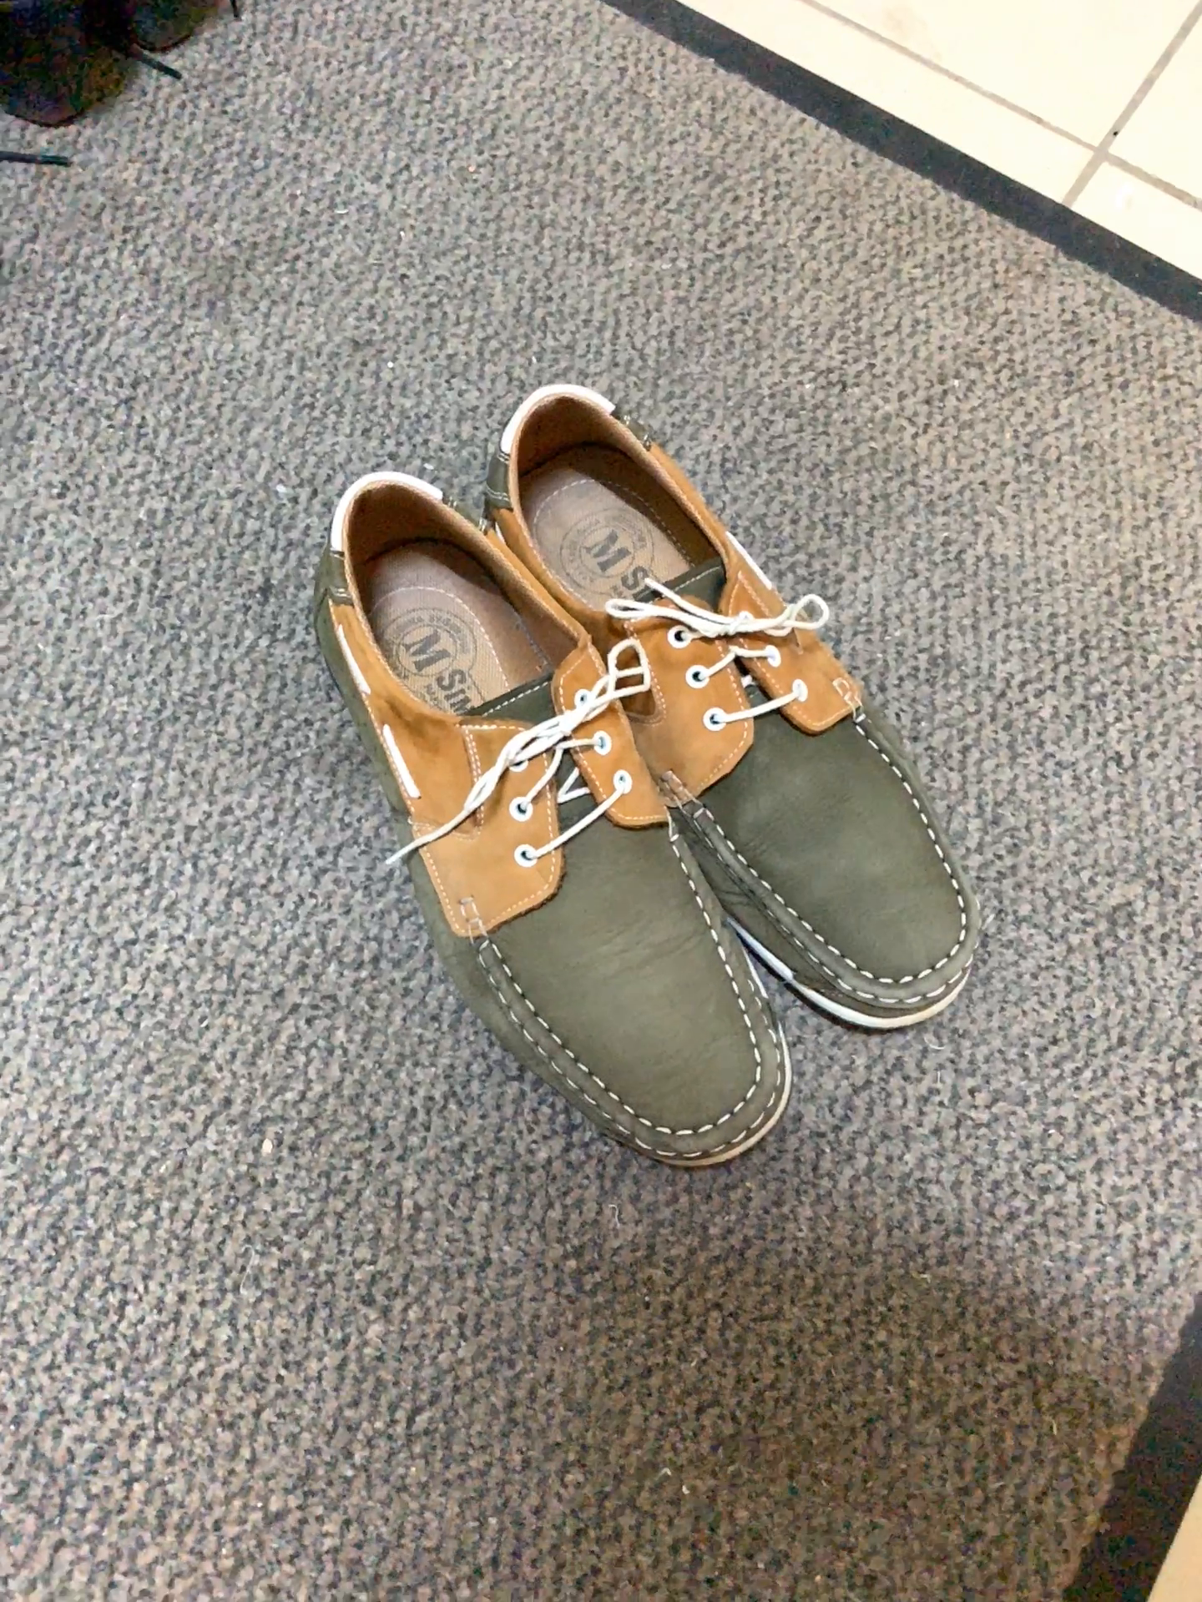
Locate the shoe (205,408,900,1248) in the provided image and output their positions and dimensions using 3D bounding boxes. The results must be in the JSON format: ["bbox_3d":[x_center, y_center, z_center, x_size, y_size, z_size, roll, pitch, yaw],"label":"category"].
[{"bbox_3d":[-0.026,0.014,0.463,0.107,0.130,0.270,-28,75,-12],"label":"shoe"}]

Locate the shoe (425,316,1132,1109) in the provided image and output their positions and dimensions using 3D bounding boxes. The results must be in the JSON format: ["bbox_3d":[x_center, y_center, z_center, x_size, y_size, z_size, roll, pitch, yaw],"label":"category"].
[{"bbox_3d":[0.052,-0.030,0.488,0.107,0.130,0.270,-32,75,-13],"label":"shoe"}]
